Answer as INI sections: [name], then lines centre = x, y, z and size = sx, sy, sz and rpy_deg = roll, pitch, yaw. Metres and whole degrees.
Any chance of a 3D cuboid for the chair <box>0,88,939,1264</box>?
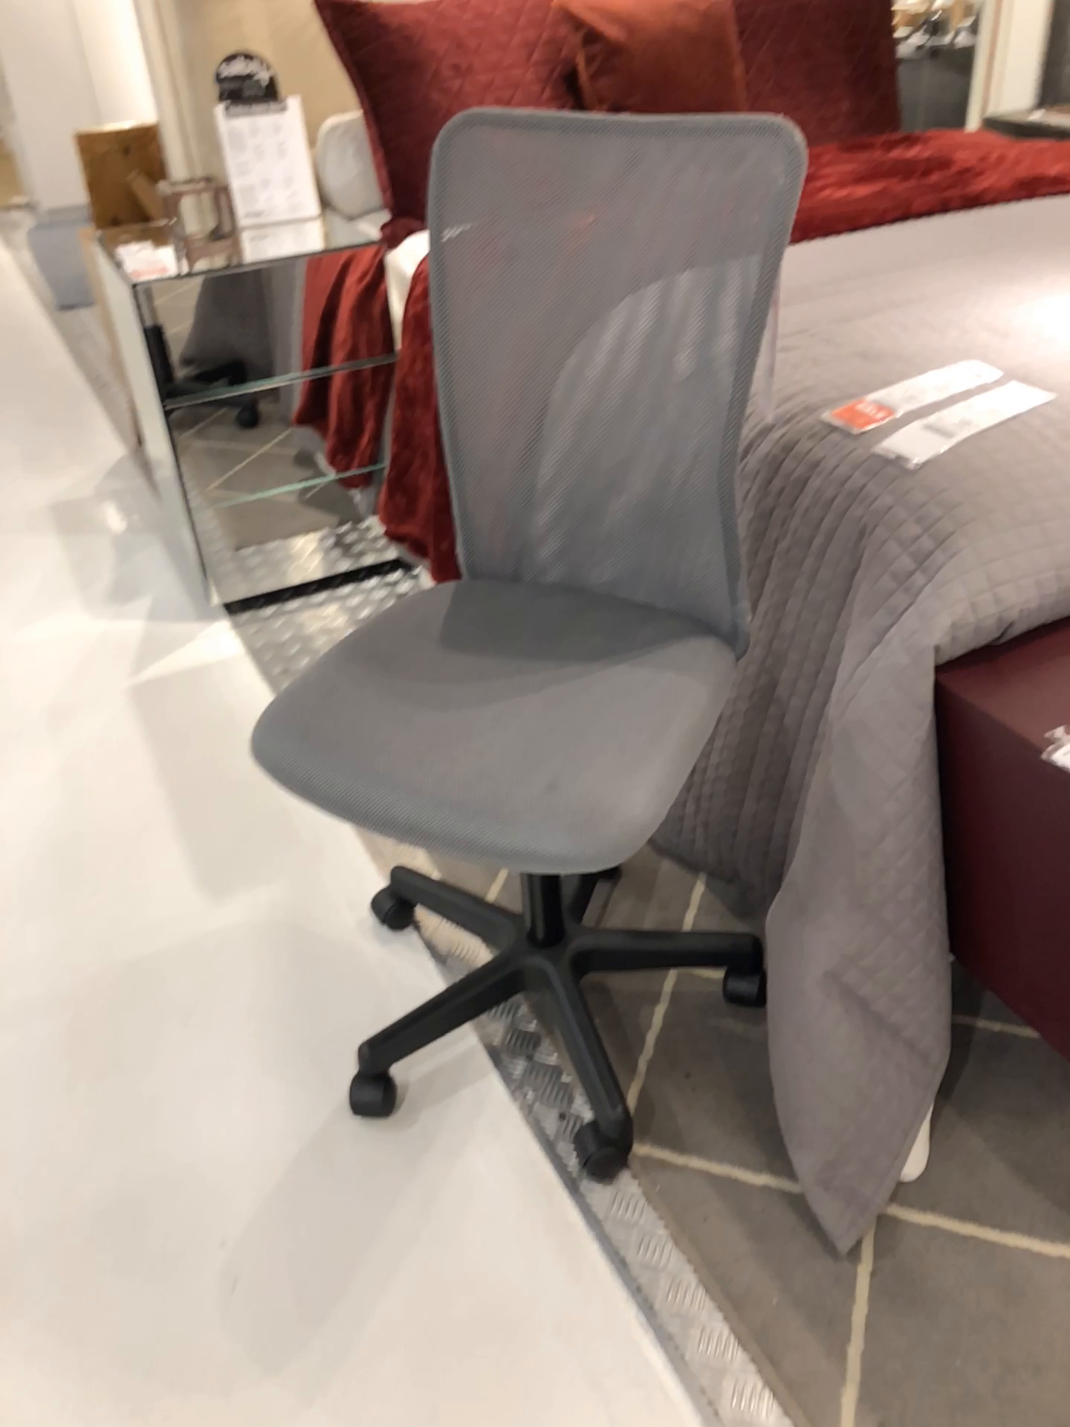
[chair]
centre = -0.022, -0.084, 1.249
size = 0.561, 0.943, 0.643
rpy_deg = 20, 41, 31
